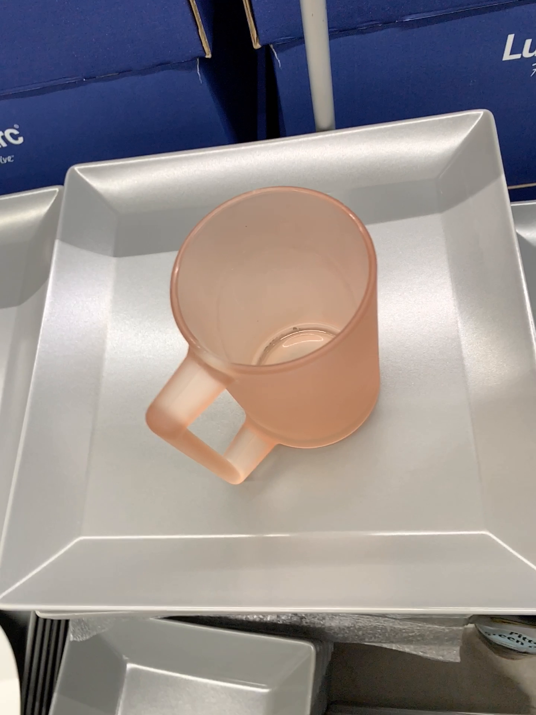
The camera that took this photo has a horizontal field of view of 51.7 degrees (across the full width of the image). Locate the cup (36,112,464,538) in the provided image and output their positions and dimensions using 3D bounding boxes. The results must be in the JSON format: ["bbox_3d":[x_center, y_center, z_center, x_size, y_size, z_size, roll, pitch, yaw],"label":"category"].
[{"bbox_3d":[-0.001,-0.009,0.234,0.095,0.095,0.120,39,78,25],"label":"cup"}]
